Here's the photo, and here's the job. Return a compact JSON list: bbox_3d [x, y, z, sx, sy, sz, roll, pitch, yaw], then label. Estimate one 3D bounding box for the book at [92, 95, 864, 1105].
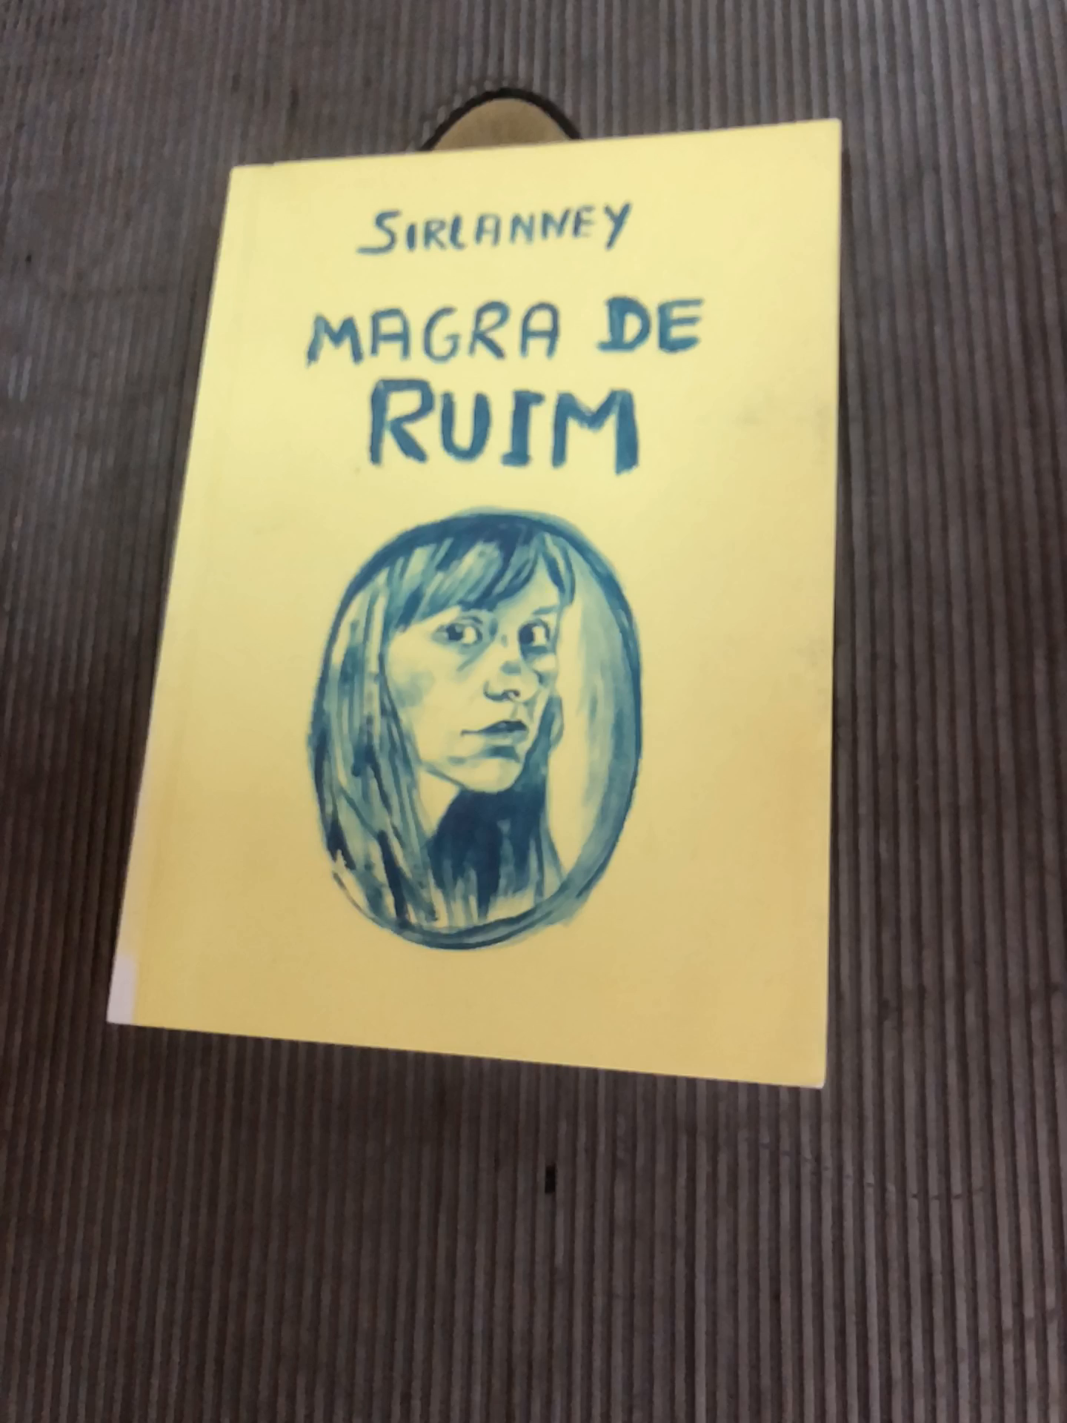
[{"bbox_3d":[-0.008,-0.032,0.265,0.150,0.020,0.210,2,78,12],"label":"book"}]
